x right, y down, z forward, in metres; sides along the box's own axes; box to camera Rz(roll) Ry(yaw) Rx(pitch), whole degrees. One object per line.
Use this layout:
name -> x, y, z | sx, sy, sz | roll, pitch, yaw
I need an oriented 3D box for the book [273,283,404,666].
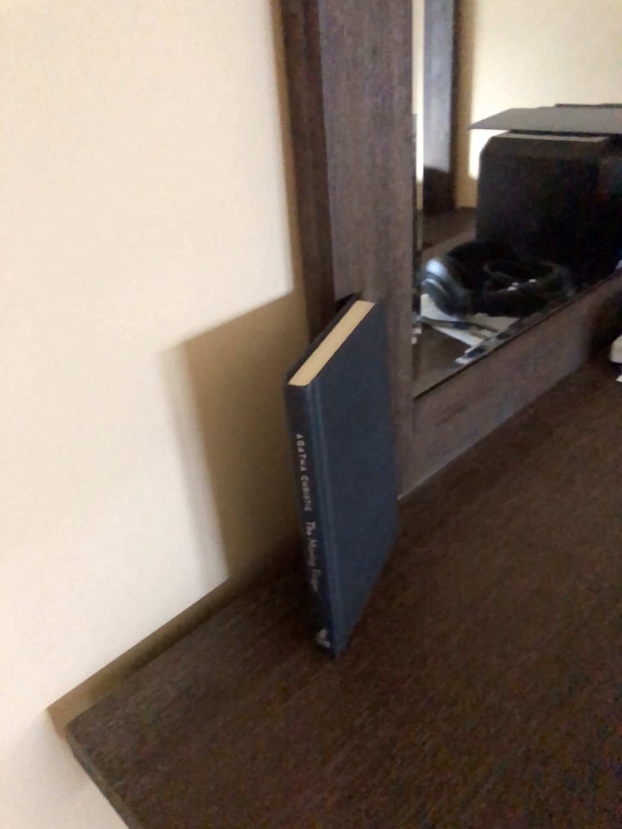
book -> 0.030, 0.041, 0.496 | 0.028, 0.229, 0.151 | 7, 32, 22
